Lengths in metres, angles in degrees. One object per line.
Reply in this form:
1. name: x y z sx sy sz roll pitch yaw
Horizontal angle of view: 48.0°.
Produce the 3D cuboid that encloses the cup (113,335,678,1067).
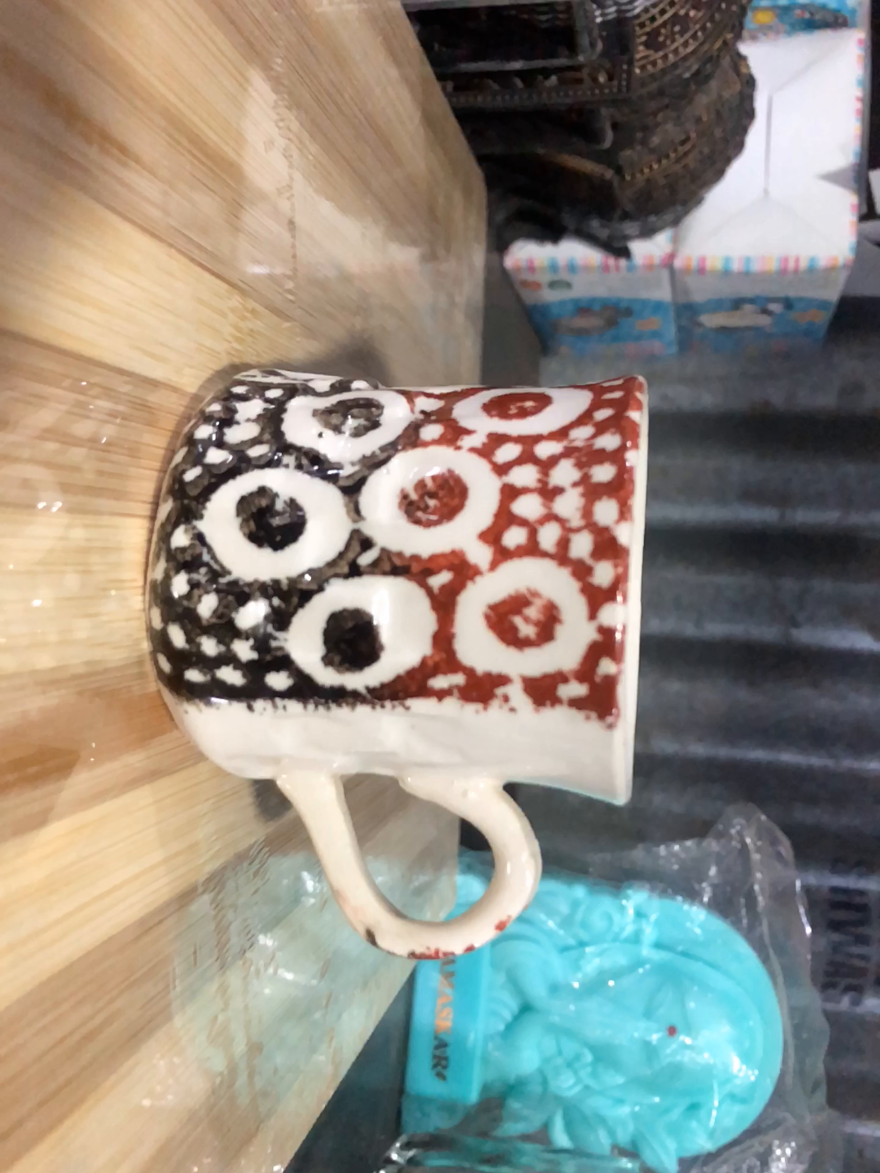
1. cup: -0.001 0.013 0.159 0.060 0.070 0.090 16 78 -78
